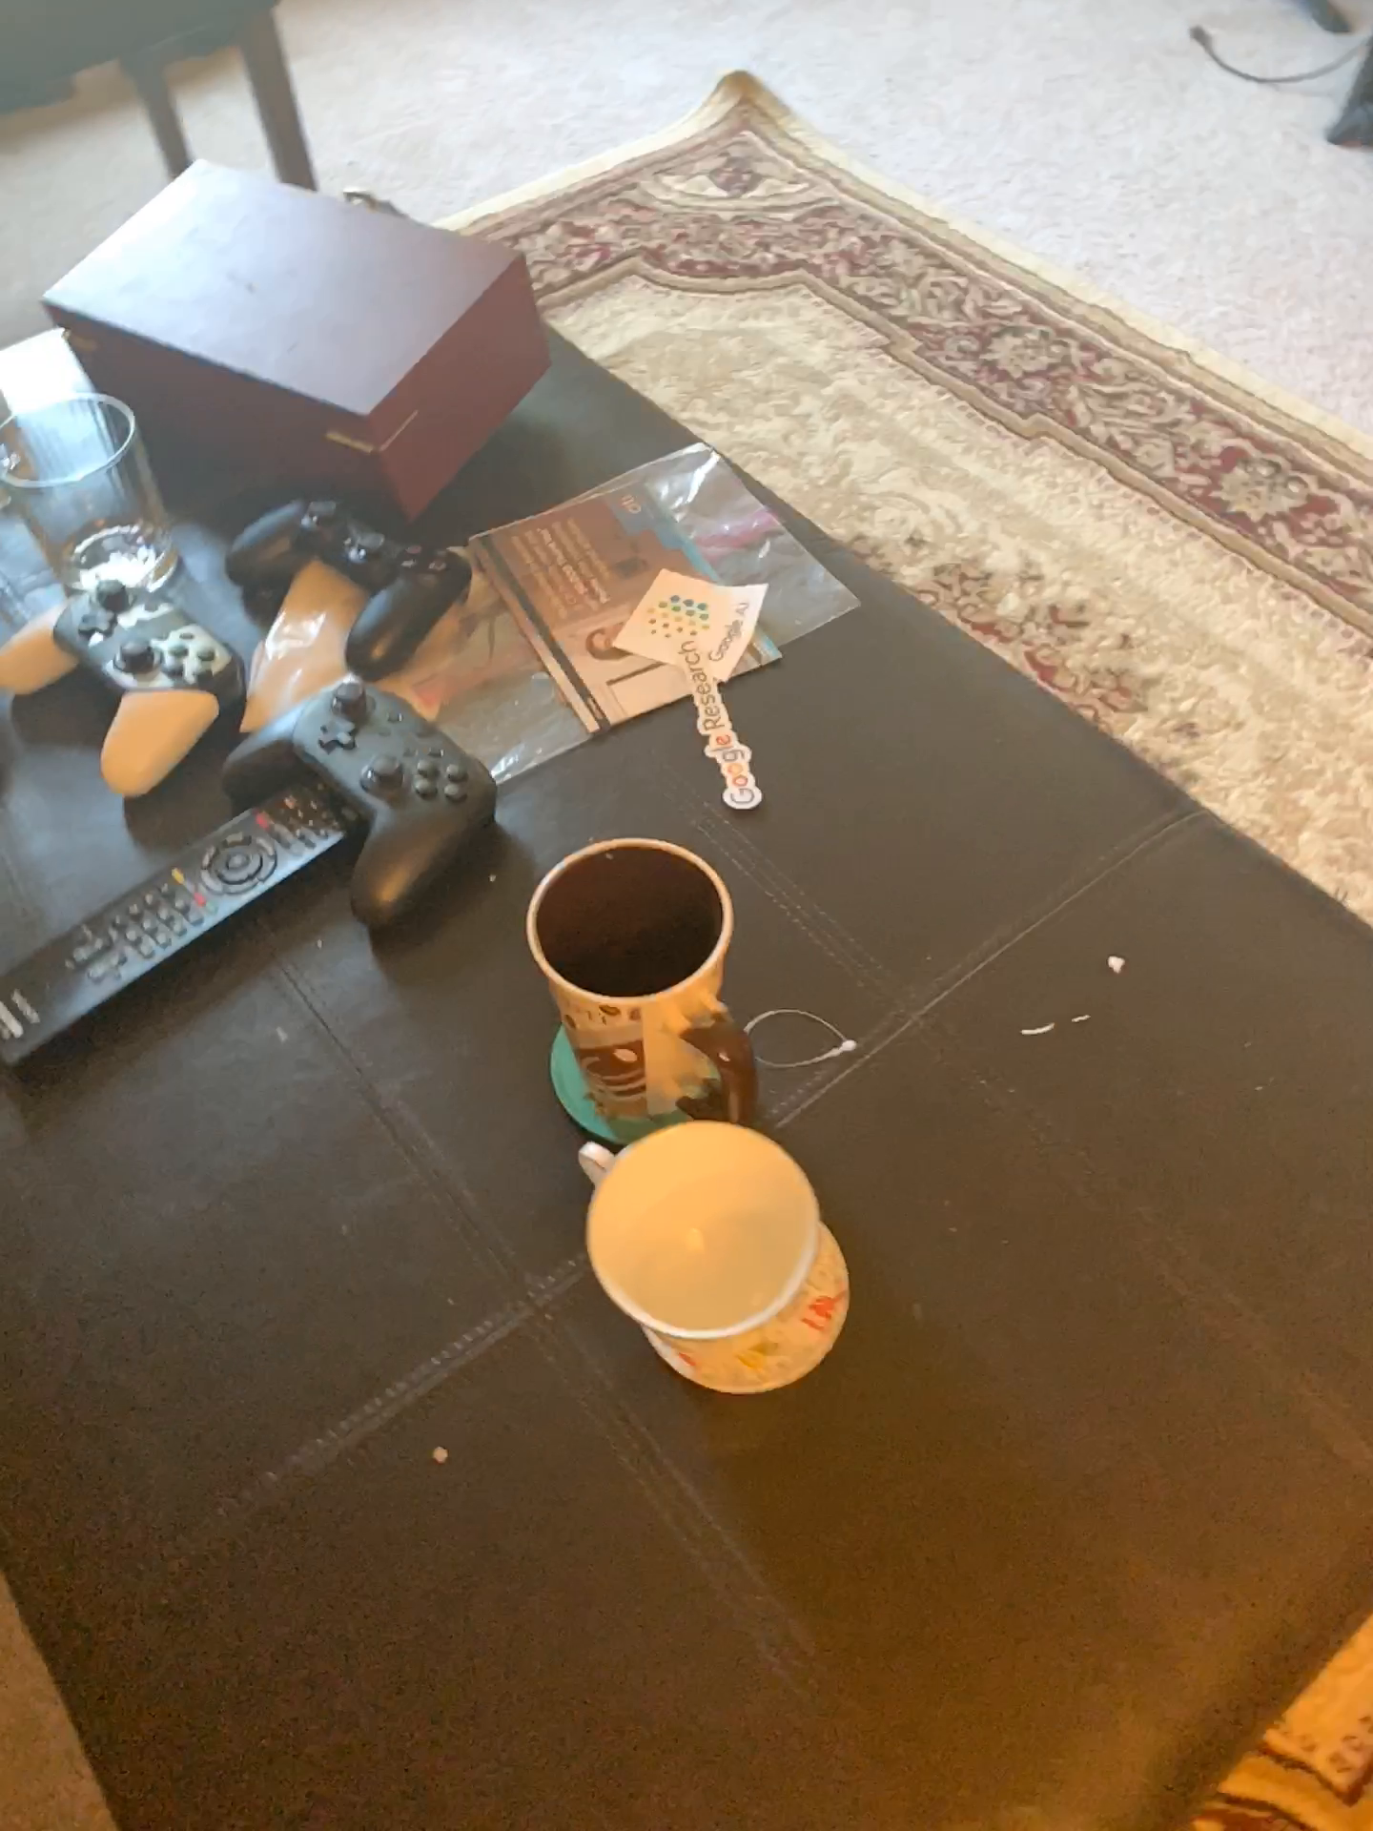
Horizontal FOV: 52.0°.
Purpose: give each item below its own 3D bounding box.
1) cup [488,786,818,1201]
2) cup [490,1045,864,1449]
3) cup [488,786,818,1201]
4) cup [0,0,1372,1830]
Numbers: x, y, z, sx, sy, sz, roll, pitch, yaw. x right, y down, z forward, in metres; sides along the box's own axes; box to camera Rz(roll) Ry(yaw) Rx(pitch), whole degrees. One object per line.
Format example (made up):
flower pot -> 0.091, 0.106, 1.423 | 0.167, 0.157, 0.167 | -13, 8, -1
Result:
cup -> -0.014, 0.034, 0.613 | 0.080, 0.110, 0.120 | -30, 58, -19
cup -> -0.003, 0.130, 0.561 | 0.110, 0.070, 0.090 | 36, 63, 25
cup -> -0.014, 0.034, 0.613 | 0.080, 0.110, 0.120 | -30, 58, -19
cup -> -0.014, 0.034, 0.613 | 0.297, 9.460, 39.381 | -30, 58, -19
